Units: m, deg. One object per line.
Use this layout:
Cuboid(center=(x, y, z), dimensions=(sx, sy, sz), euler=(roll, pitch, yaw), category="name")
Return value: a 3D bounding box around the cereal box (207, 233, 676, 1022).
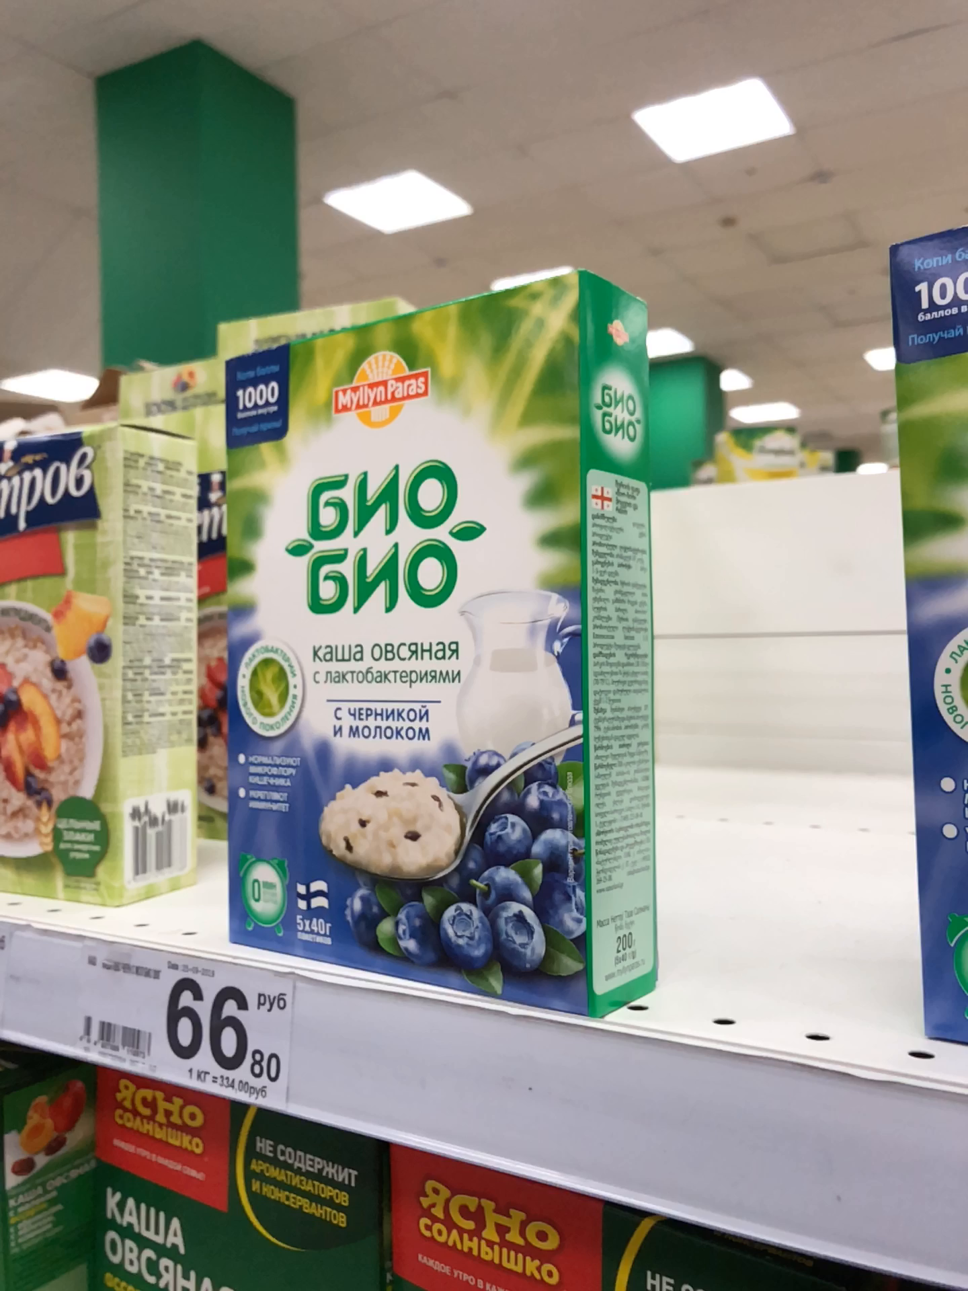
Cuboid(center=(-0.021, -0.005, 0.350), dimensions=(0.160, 0.210, 0.040), euler=(-1, -2, 36), category="cereal box")
